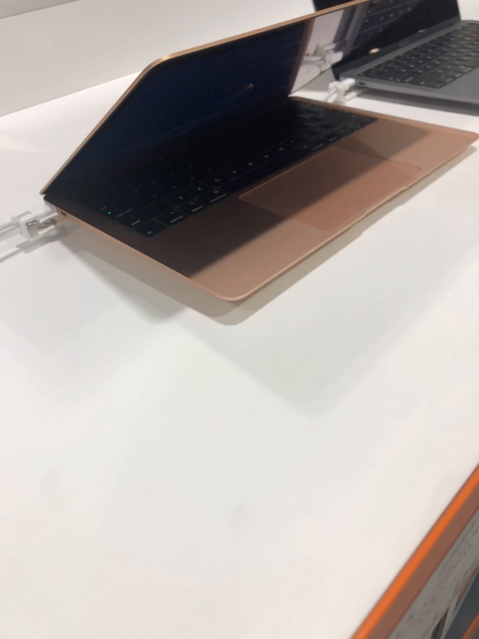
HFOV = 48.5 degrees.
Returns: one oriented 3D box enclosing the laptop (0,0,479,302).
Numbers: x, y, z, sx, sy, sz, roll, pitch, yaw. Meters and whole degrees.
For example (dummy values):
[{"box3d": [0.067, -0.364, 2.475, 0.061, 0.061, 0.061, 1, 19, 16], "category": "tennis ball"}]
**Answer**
[{"box3d": [0.018, -0.164, 0.391, 0.200, 0.106, 0.296, 28, 49, 35], "category": "laptop"}]
